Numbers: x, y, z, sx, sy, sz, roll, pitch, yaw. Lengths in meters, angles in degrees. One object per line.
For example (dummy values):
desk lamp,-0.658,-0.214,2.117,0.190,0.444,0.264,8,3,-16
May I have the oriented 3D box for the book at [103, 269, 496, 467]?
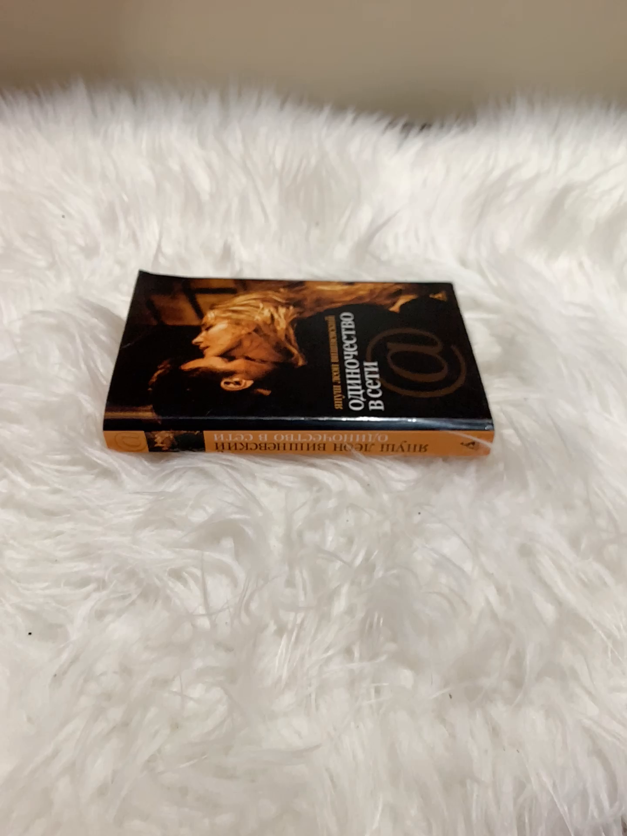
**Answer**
book,-0.008,-0.029,0.341,0.176,0.030,0.114,1,47,-5
